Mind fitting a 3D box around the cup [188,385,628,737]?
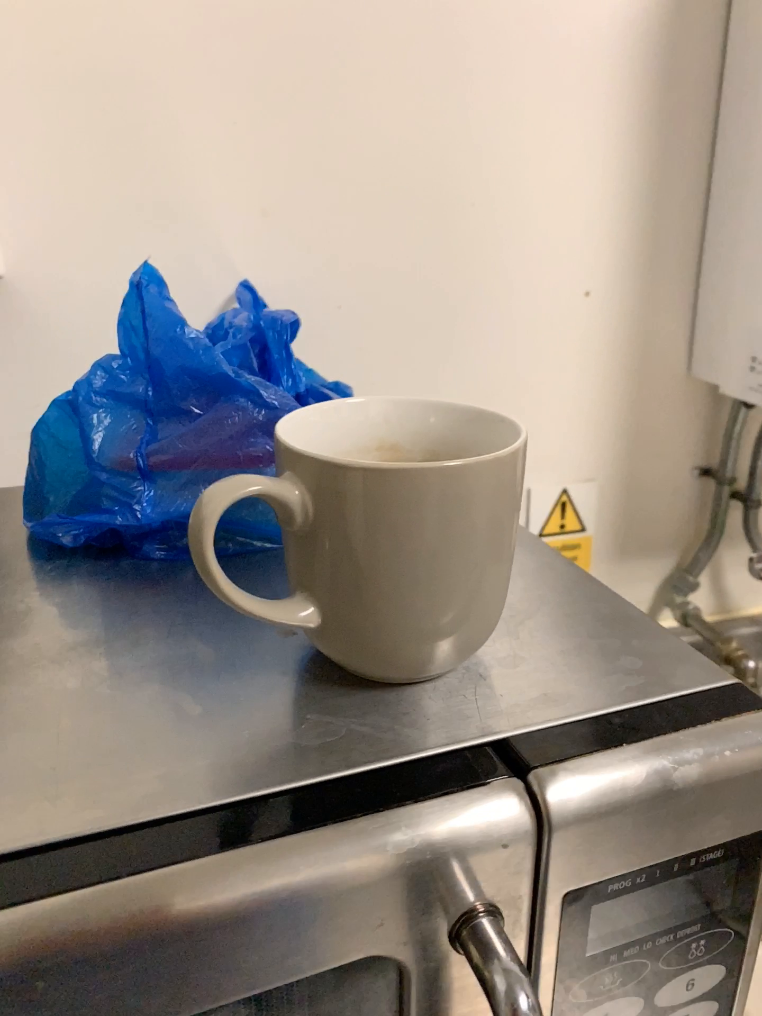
[{"bbox_3d":[0.004,0.009,0.291,0.129,0.077,0.094,-8,23,-19],"label":"cup"}]
